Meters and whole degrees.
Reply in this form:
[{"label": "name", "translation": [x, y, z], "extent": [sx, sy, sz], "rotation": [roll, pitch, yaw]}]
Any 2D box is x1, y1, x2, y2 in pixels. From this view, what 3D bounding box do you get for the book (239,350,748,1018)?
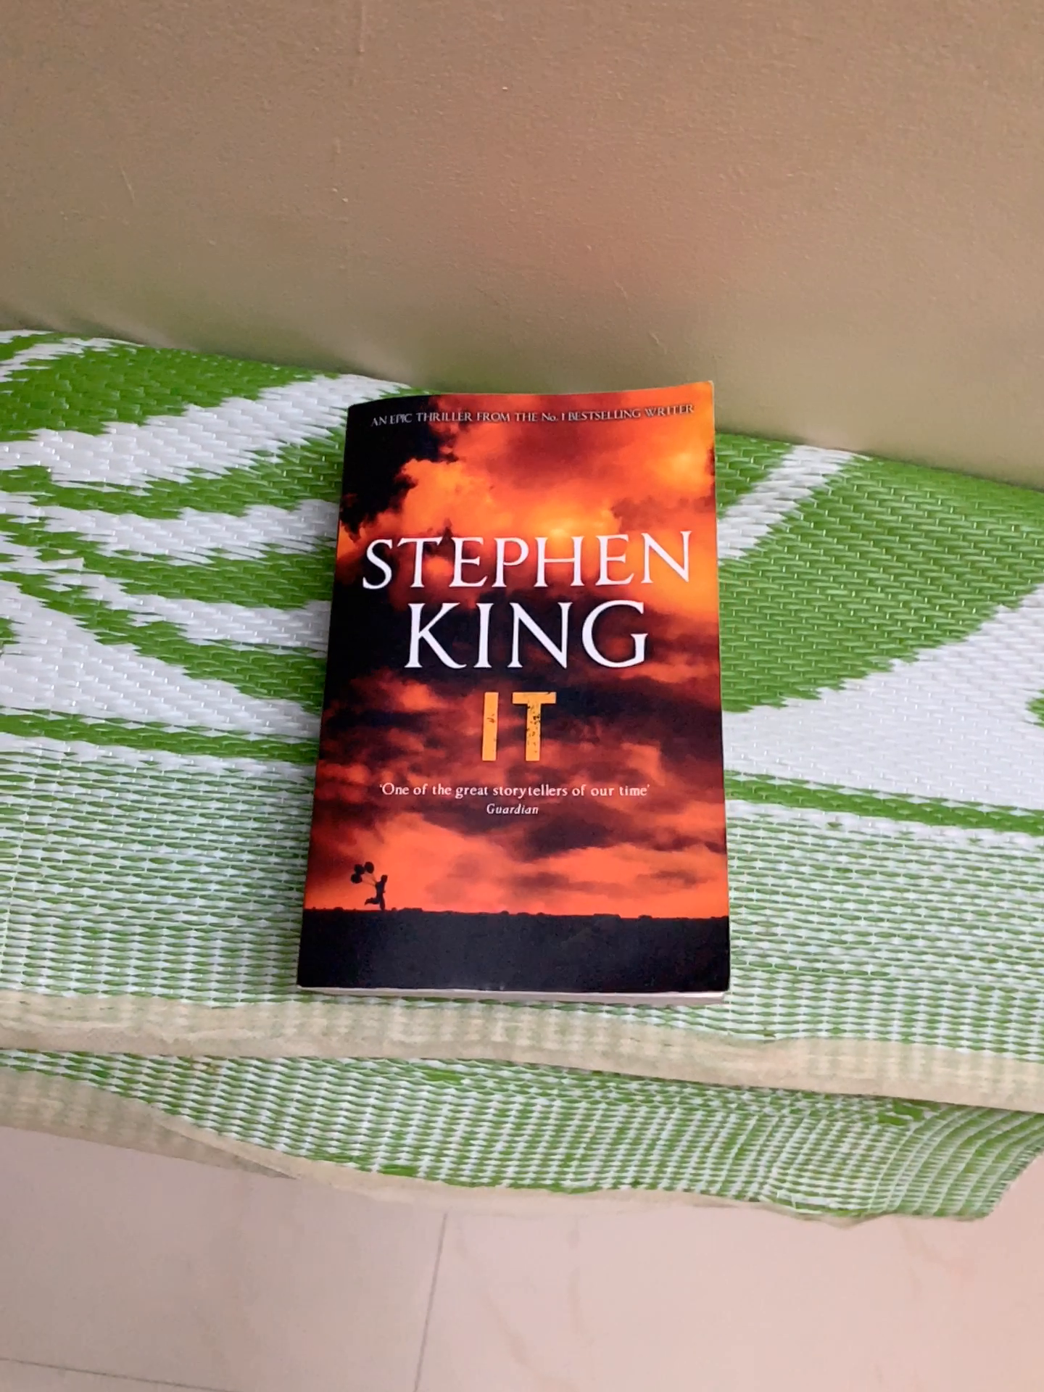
[{"label": "book", "translation": [-0.004, -0.005, 0.366], "extent": [0.140, 0.070, 0.210], "rotation": [3, 69, -1]}]
